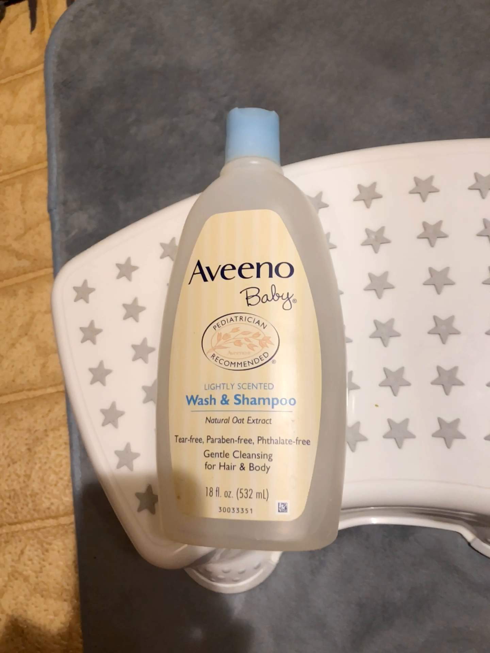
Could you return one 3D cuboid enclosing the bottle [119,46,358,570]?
[{"bbox_3d":[0.003,-0.015,0.272,0.100,0.040,0.240,-2,76,15],"label":"bottle"}]
